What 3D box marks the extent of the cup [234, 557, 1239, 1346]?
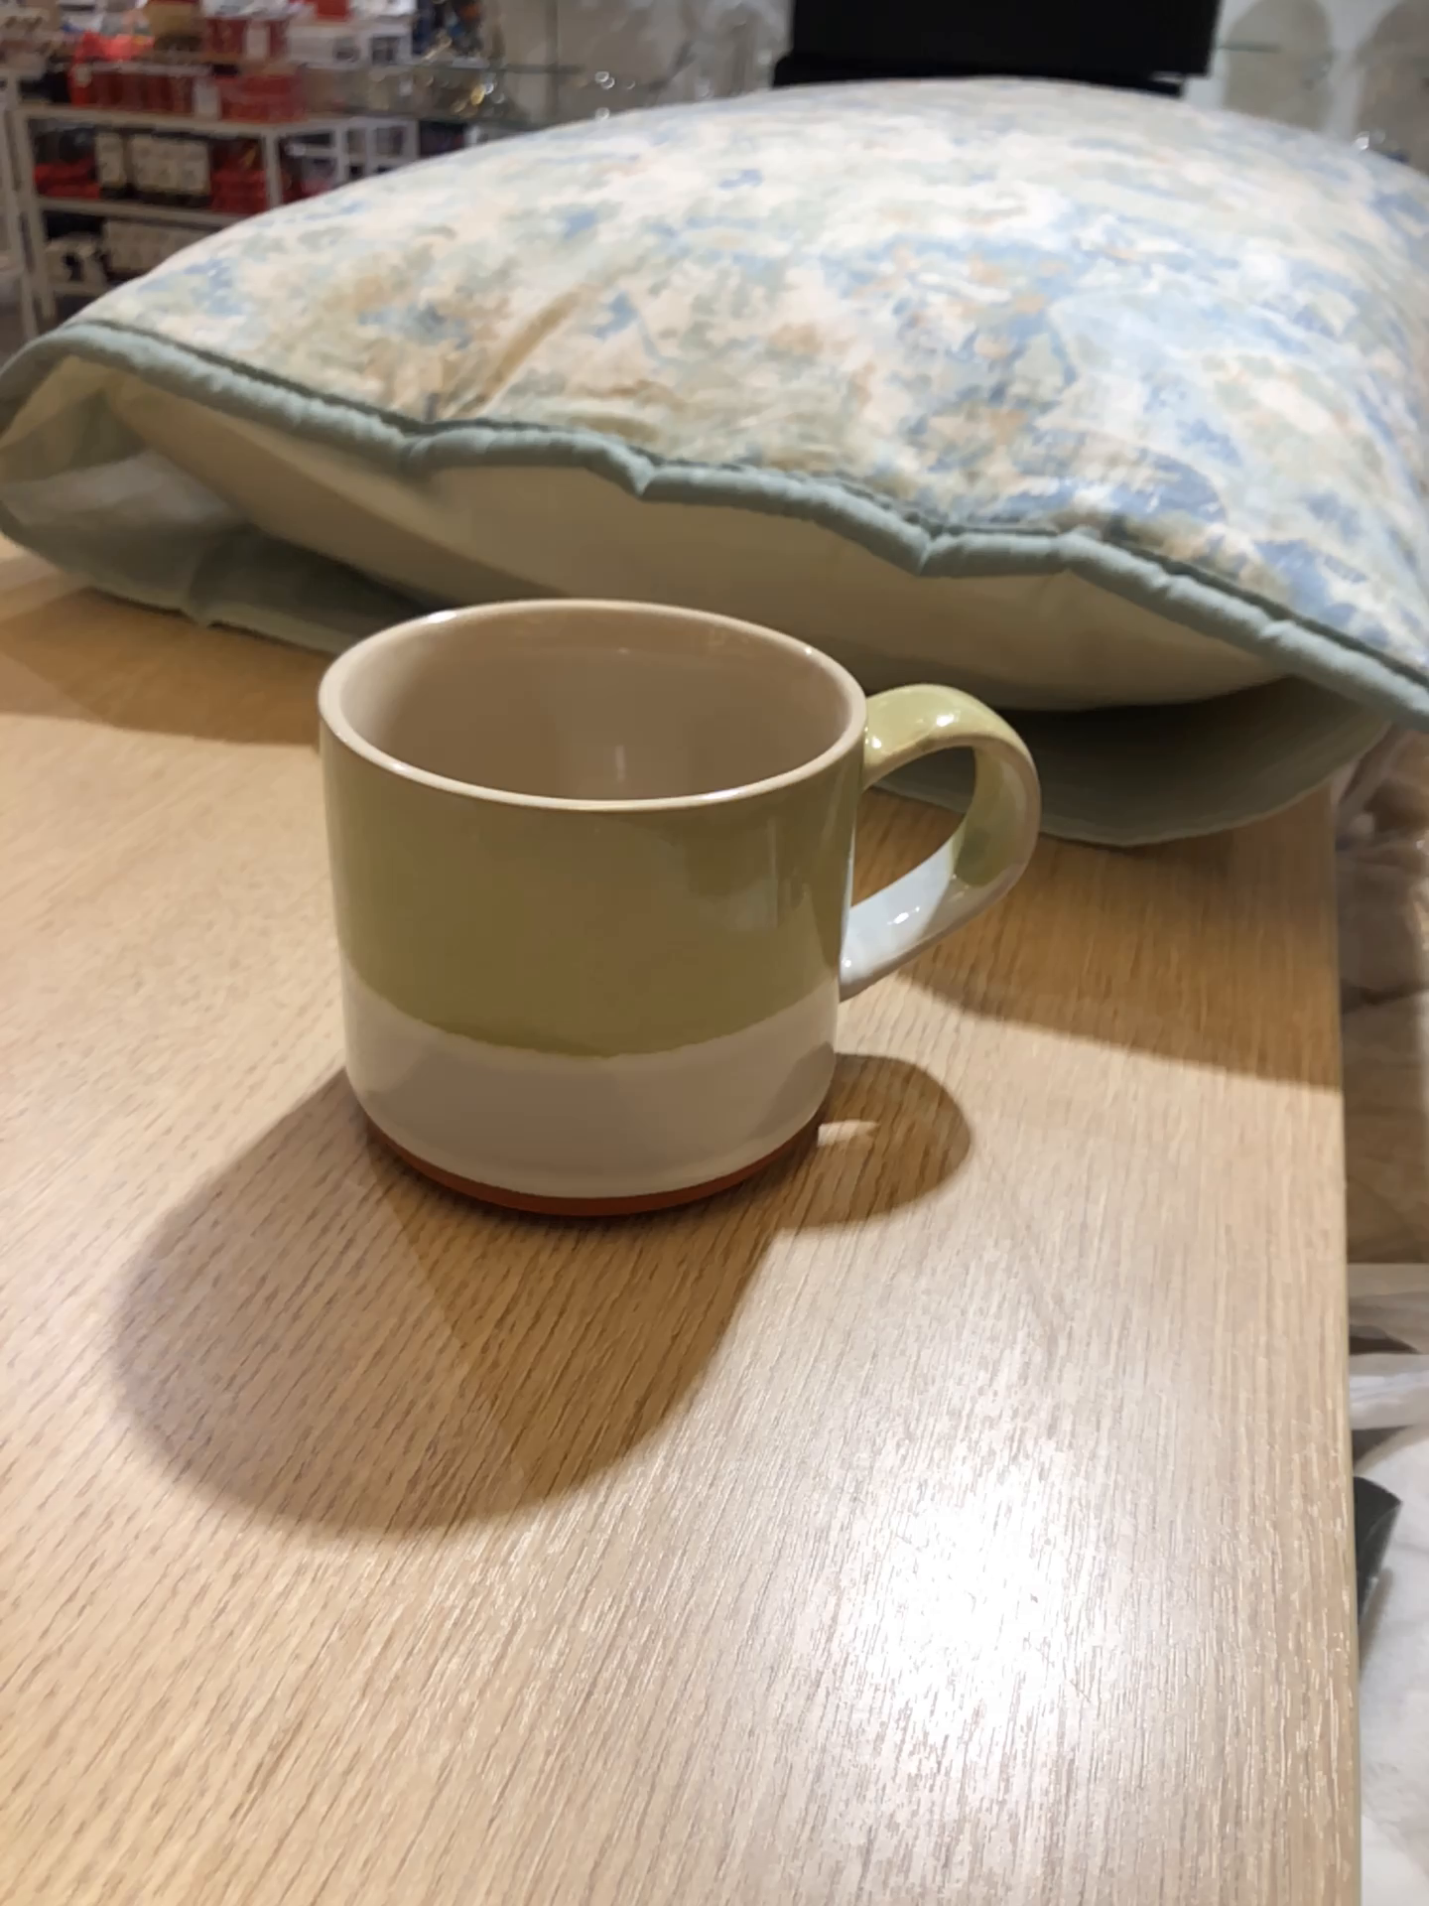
[{"bbox_3d":[-0.001,-0.012,0.290,0.140,0.079,0.101,-12,34,-24],"label":"cup"}]
